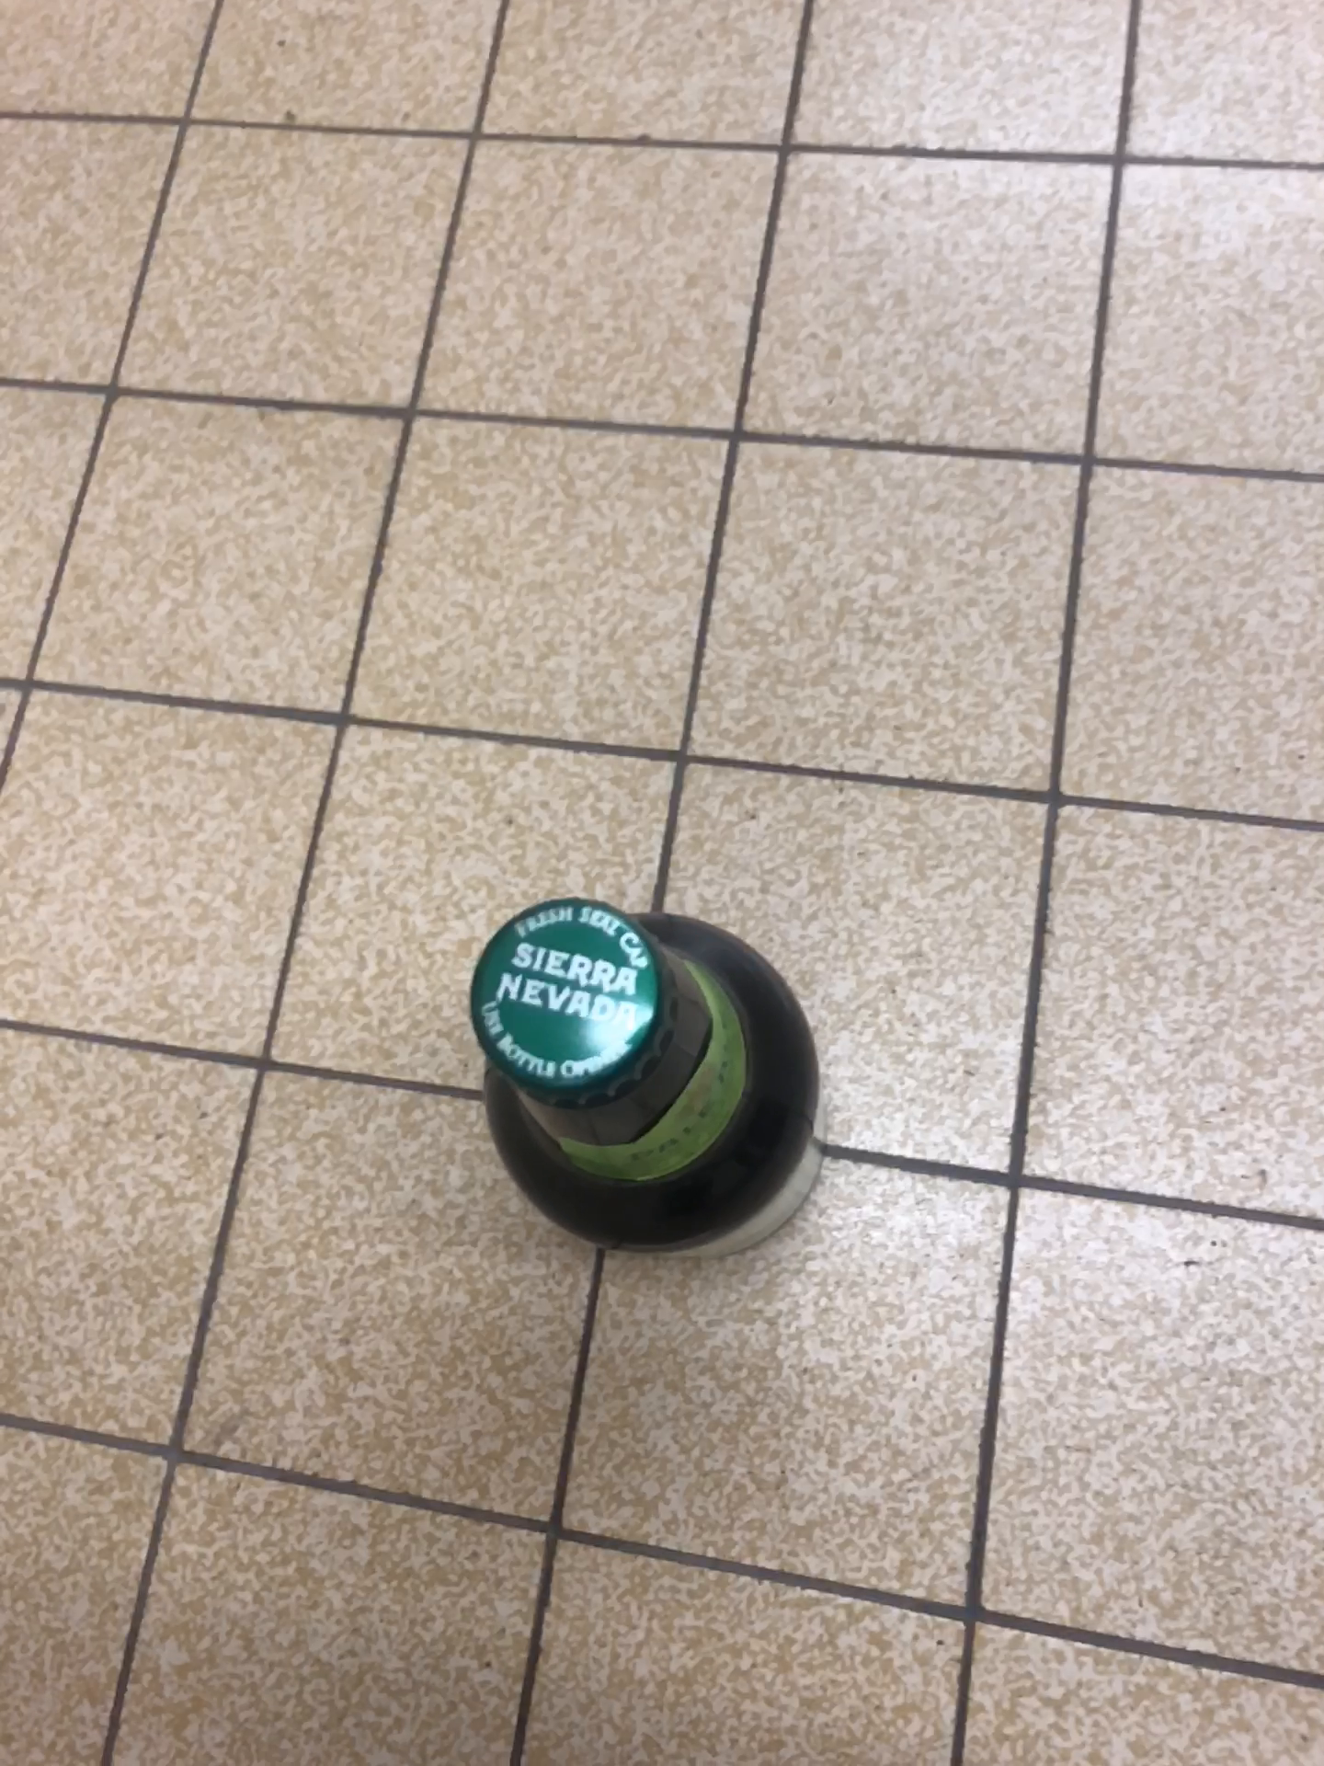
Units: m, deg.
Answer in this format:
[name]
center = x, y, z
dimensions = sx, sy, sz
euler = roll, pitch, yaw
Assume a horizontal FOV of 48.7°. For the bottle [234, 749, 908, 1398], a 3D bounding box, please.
[bottle]
center = 0.001, 0.046, 0.283
dimensions = 0.070, 0.190, 0.060
euler = 26, 80, 14
